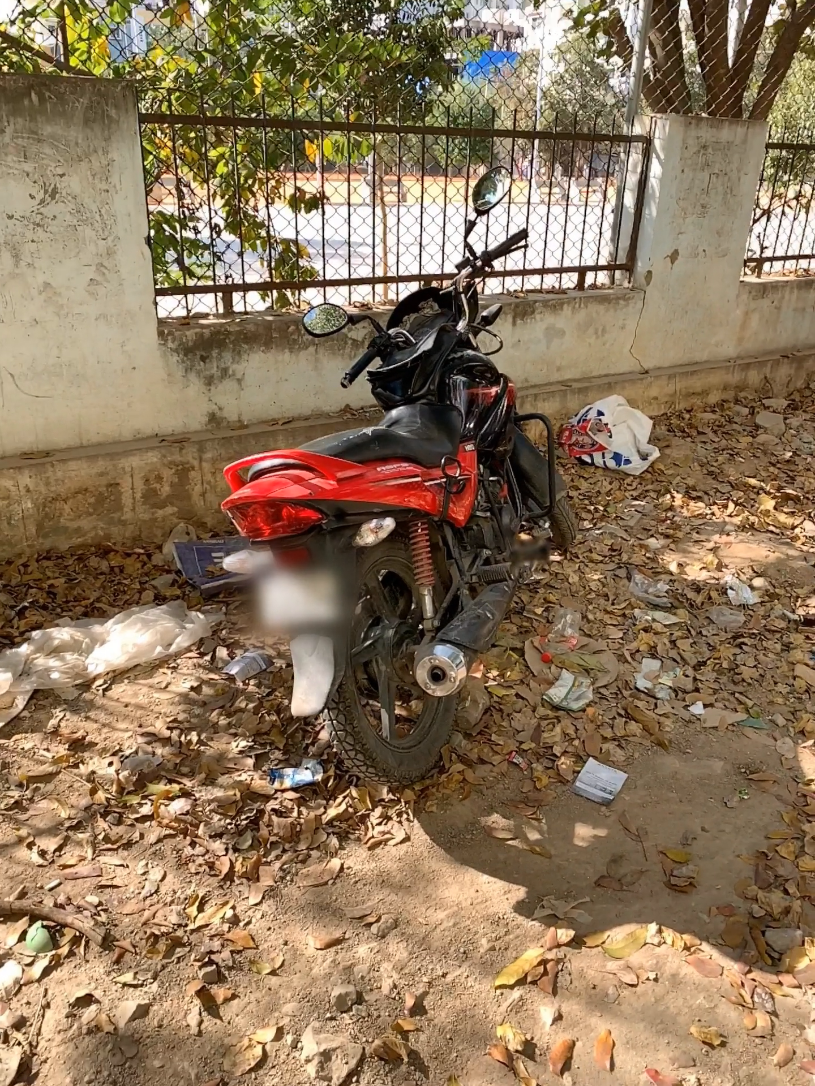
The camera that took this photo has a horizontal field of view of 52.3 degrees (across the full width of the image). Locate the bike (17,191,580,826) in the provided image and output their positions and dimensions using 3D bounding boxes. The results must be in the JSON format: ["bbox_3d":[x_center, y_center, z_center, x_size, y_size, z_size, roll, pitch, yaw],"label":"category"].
[{"bbox_3d":[-0.123,-0.251,2.168,0.822,1.067,1.295,9,29,17],"label":"bike"}]
